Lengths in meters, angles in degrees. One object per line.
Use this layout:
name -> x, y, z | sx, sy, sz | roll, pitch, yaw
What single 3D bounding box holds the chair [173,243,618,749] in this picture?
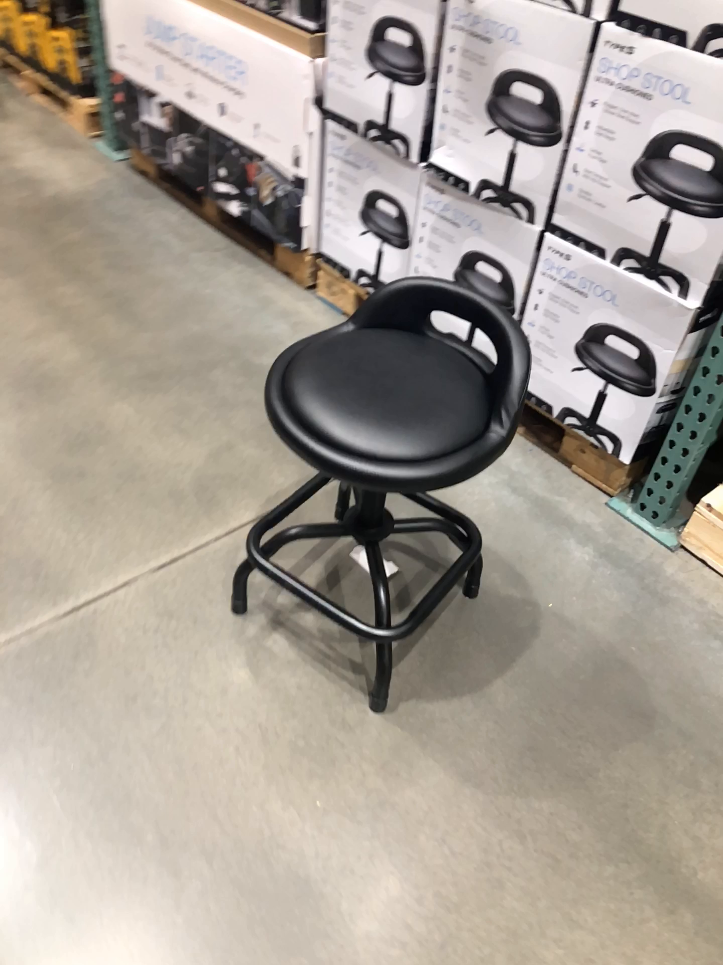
chair -> 0.021, 0.006, 1.476 | 0.502, 0.628, 0.520 | -24, 50, -30
